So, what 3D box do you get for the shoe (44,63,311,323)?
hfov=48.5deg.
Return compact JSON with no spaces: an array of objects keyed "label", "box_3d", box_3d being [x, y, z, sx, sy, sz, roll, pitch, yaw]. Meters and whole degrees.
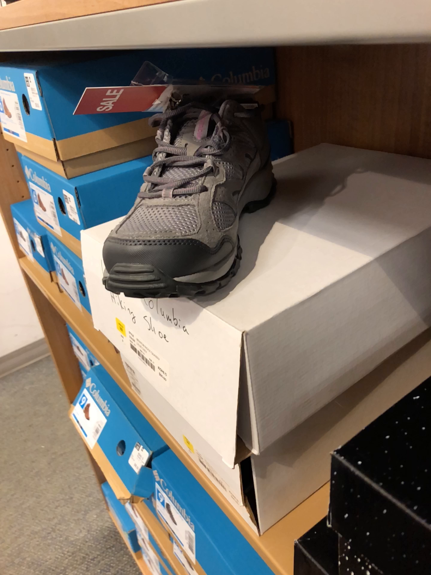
[{"label":"shoe","box_3d":[0.000,-0.099,0.397,0.104,0.114,0.268,5,33,21]}]
